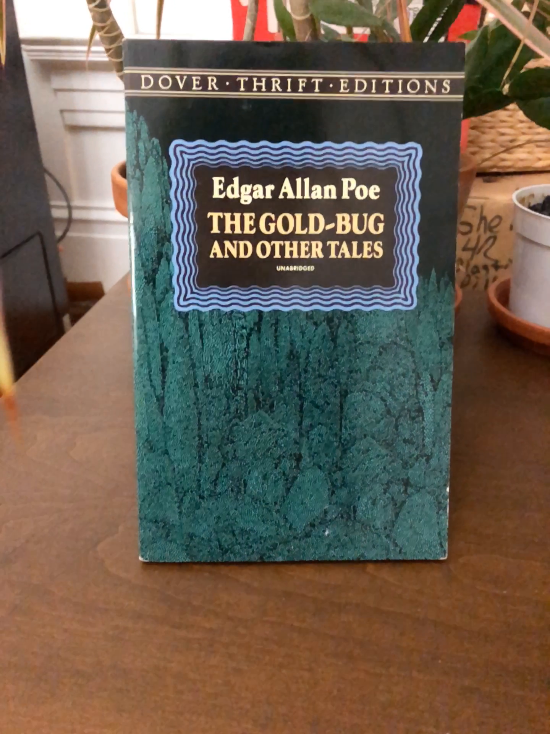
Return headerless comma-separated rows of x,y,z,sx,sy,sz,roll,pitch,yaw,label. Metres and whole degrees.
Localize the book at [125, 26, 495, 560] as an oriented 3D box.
0.014,-0.026,0.254,0.140,0.210,0.020,0,7,-1,book
